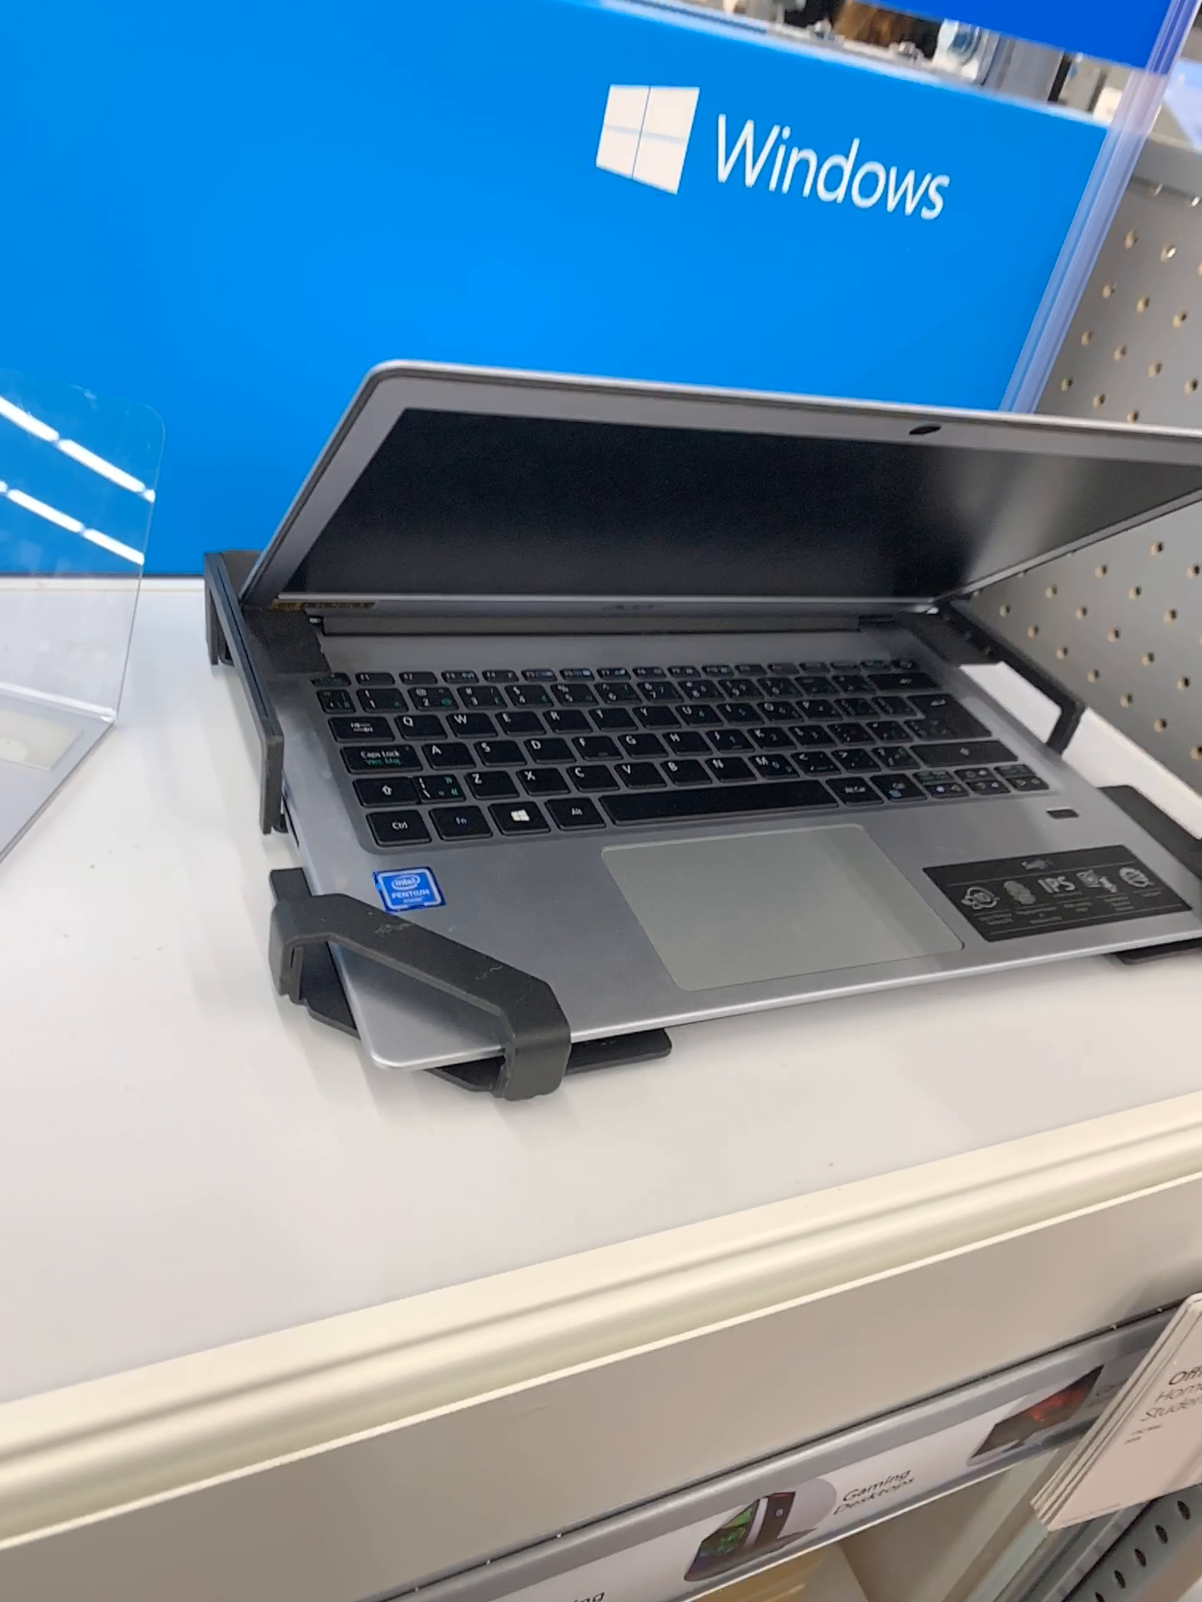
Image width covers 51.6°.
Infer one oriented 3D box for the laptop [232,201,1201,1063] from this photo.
[{"bbox_3d":[0.060,-0.068,0.397,0.306,0.141,0.213,-4,38,-26],"label":"laptop"}]
